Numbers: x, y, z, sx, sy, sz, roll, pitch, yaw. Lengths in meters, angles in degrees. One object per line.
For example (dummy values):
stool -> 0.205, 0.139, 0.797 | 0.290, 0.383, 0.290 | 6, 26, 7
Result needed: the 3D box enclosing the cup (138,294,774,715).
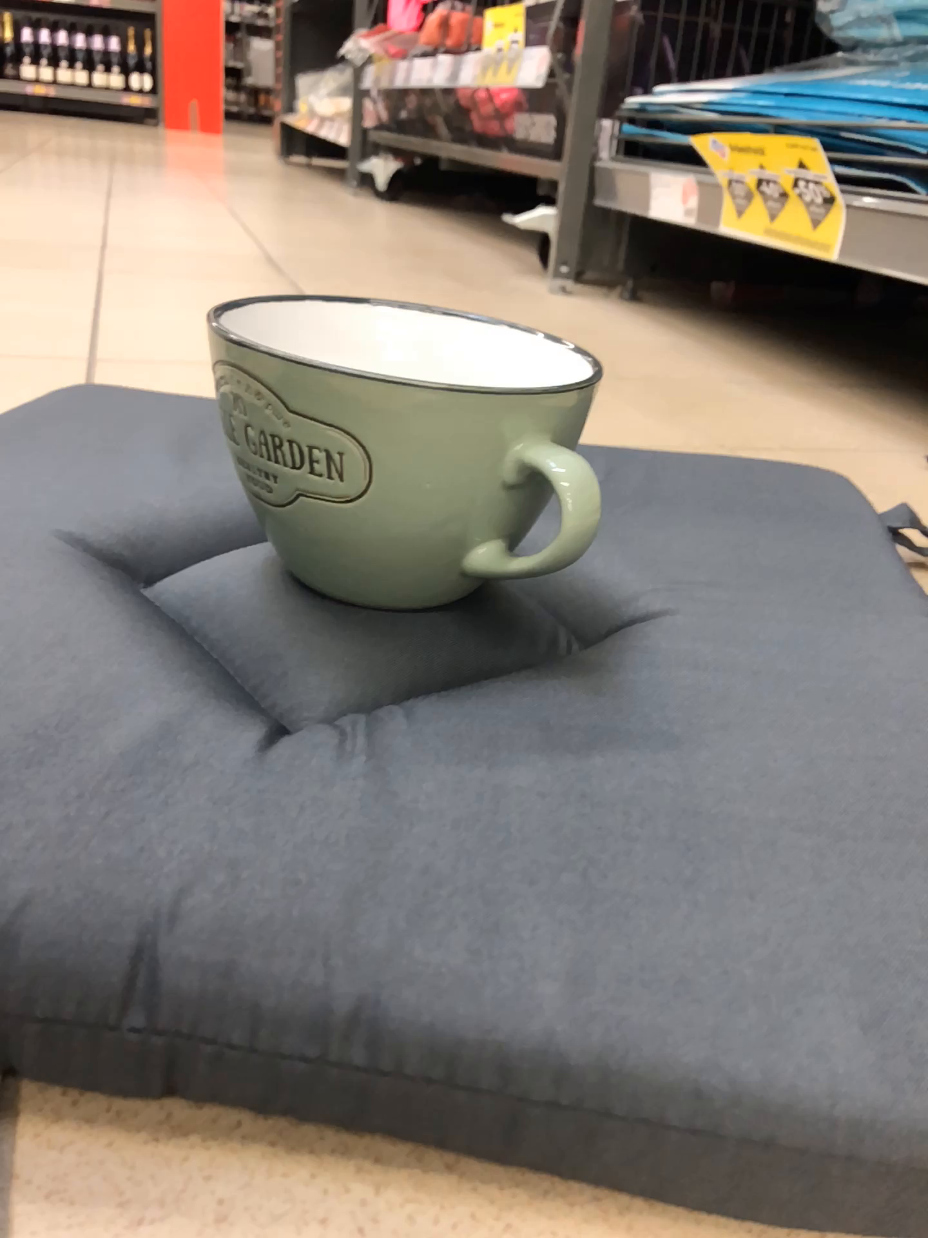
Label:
cup -> -0.009, -0.048, 0.307 | 0.121, 0.070, 0.140 | -15, 32, -38
